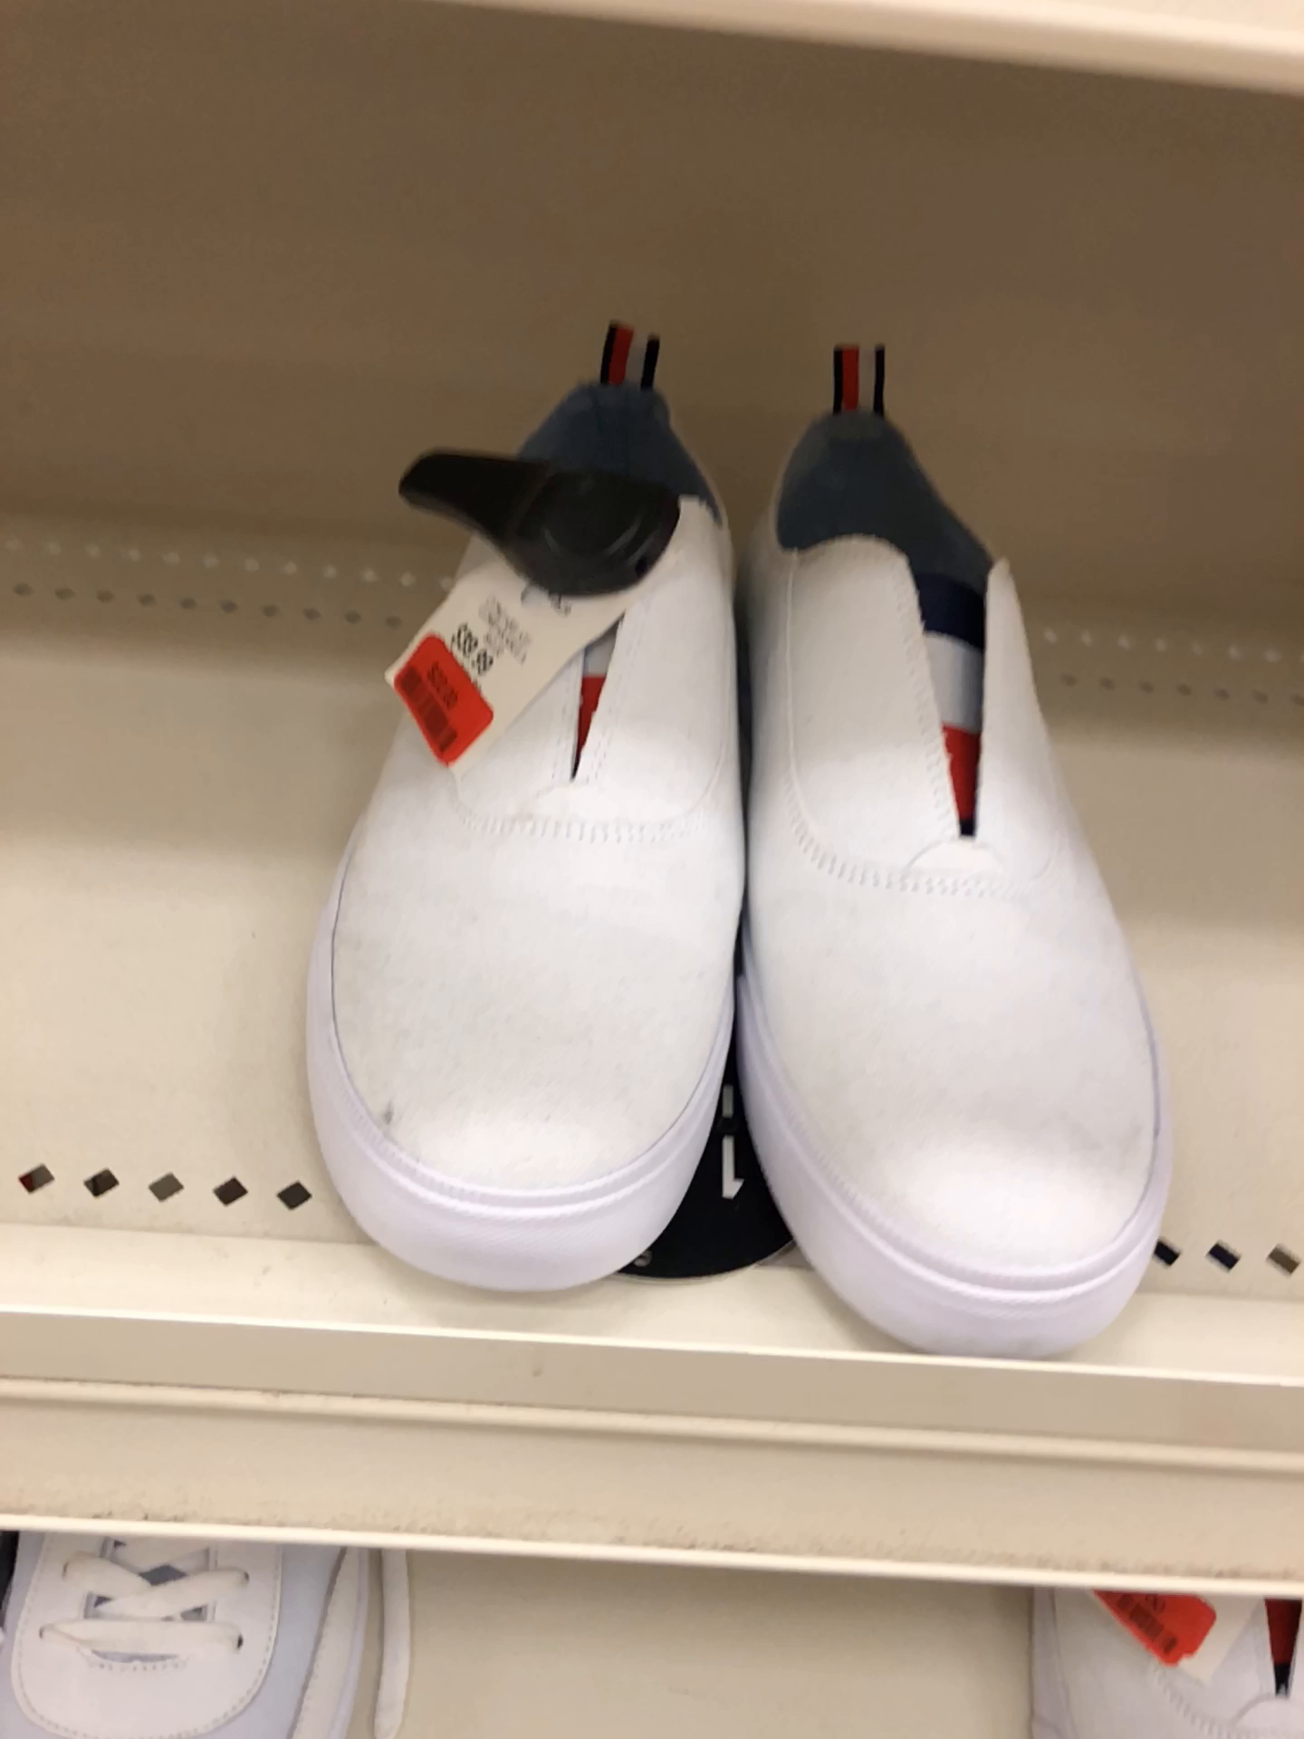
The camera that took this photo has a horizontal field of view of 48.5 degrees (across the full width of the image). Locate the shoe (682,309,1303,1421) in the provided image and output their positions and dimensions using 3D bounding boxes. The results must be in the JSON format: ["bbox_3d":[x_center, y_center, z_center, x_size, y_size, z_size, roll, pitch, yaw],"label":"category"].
[{"bbox_3d":[0.064,-0.034,0.362,0.100,0.109,0.303,5,37,-2],"label":"shoe"}]

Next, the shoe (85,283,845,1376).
[{"bbox_3d":[-0.025,-0.042,0.333,0.100,0.089,0.293,5,37,-2],"label":"shoe"}]
